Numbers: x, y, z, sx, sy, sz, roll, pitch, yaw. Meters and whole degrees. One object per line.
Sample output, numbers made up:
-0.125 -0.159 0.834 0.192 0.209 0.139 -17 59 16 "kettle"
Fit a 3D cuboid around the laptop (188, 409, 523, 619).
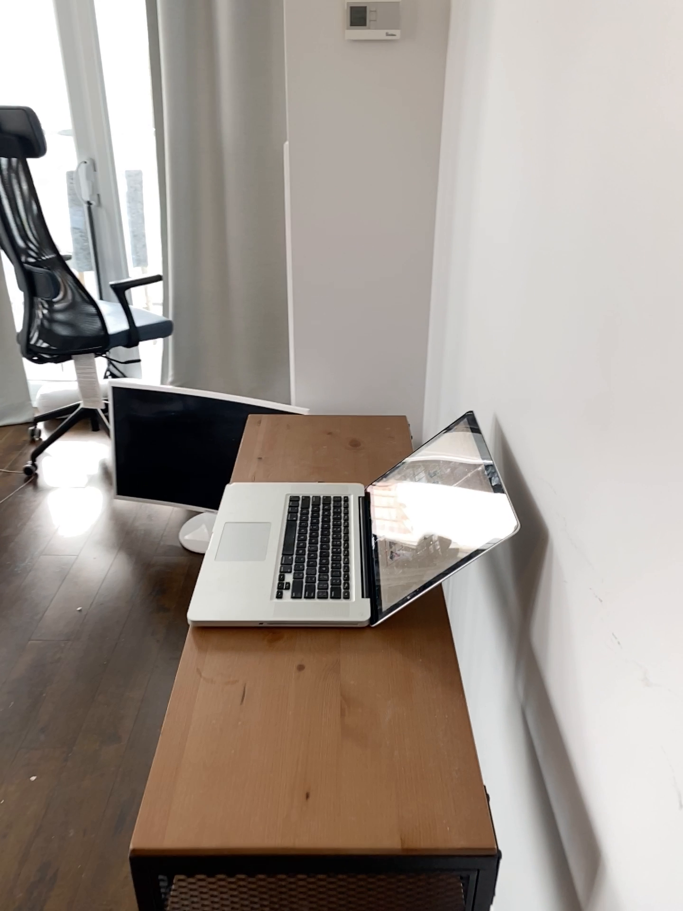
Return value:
0.018 0.073 1.103 0.438 0.151 0.370 0 28 0 "laptop"
